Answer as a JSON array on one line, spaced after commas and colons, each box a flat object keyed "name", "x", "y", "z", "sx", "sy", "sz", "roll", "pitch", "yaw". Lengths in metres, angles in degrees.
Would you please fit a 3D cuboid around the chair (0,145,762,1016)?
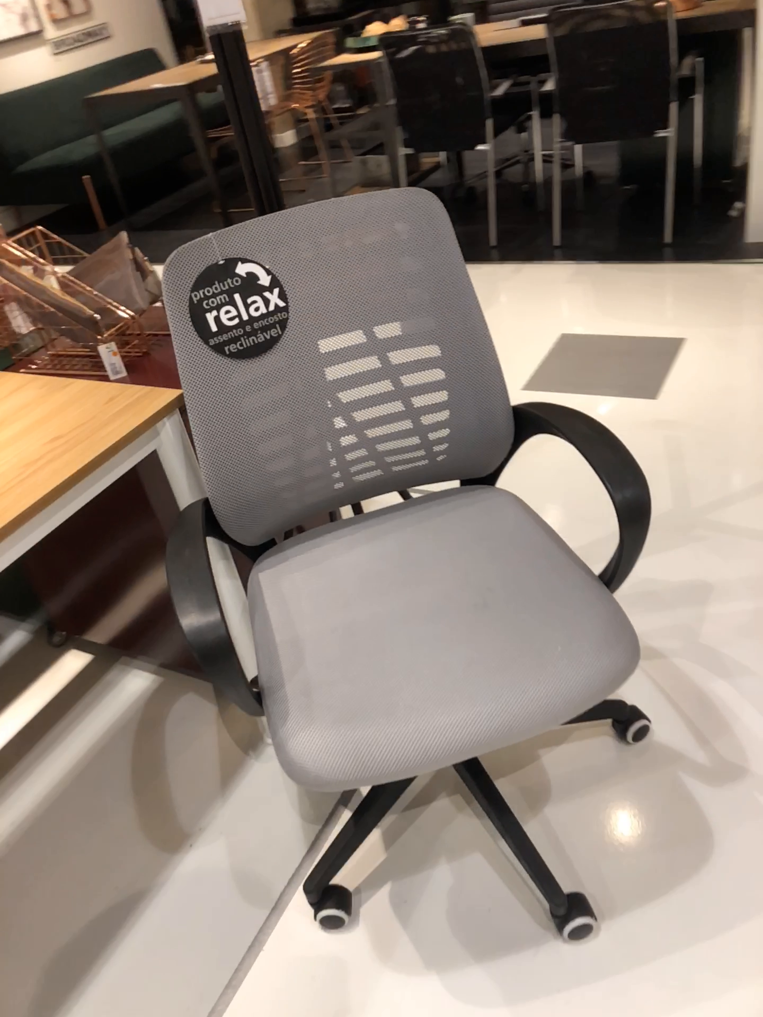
[{"name": "chair", "x": 0.039, "y": 0.097, "z": 1.108, "sx": 0.660, "sy": 0.853, "sz": 0.665, "roll": -16, "pitch": 34, "yaw": -6}]
